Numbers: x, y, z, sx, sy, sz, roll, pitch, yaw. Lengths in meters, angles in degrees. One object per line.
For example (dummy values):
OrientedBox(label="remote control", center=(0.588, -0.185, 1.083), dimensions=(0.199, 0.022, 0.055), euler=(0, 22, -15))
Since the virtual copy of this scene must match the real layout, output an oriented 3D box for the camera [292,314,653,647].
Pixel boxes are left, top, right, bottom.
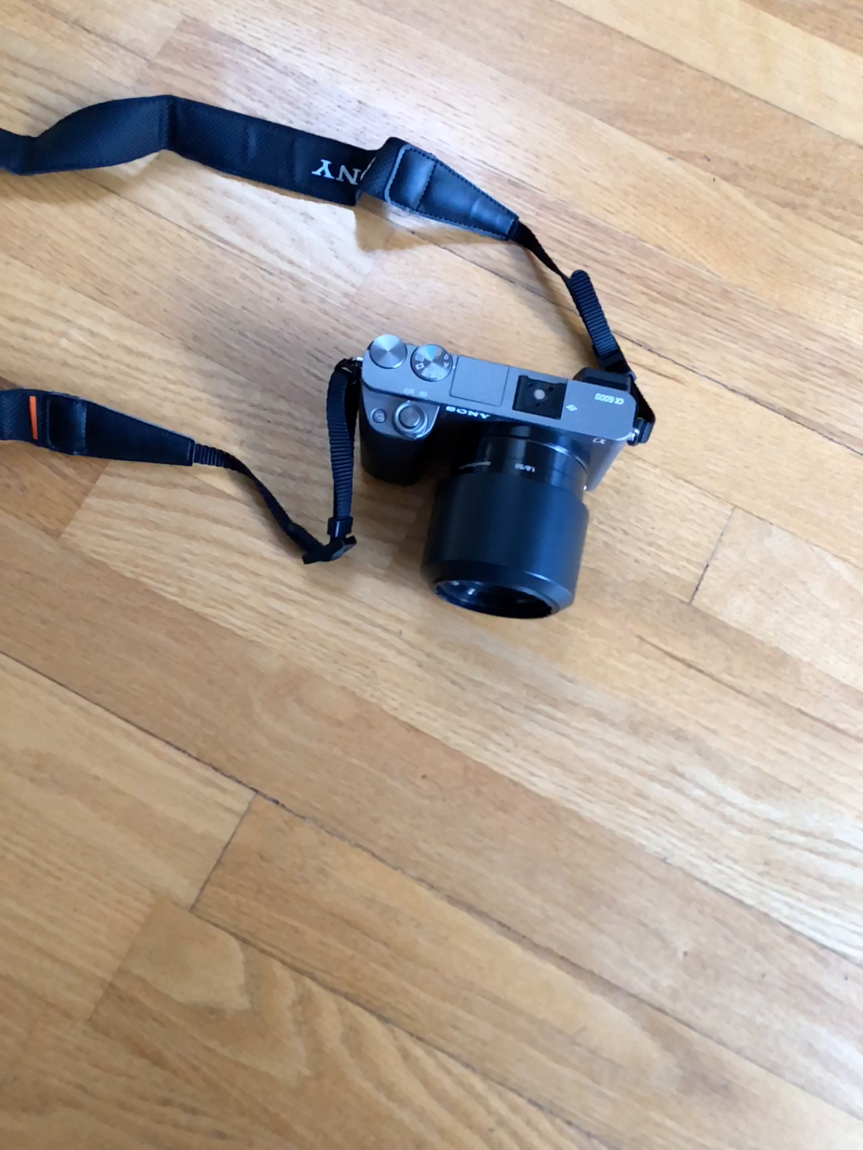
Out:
OrientedBox(label="camera", center=(0.018, -0.039, 0.434), dimensions=(0.136, 0.079, 0.107), euler=(11, 73, 0))
